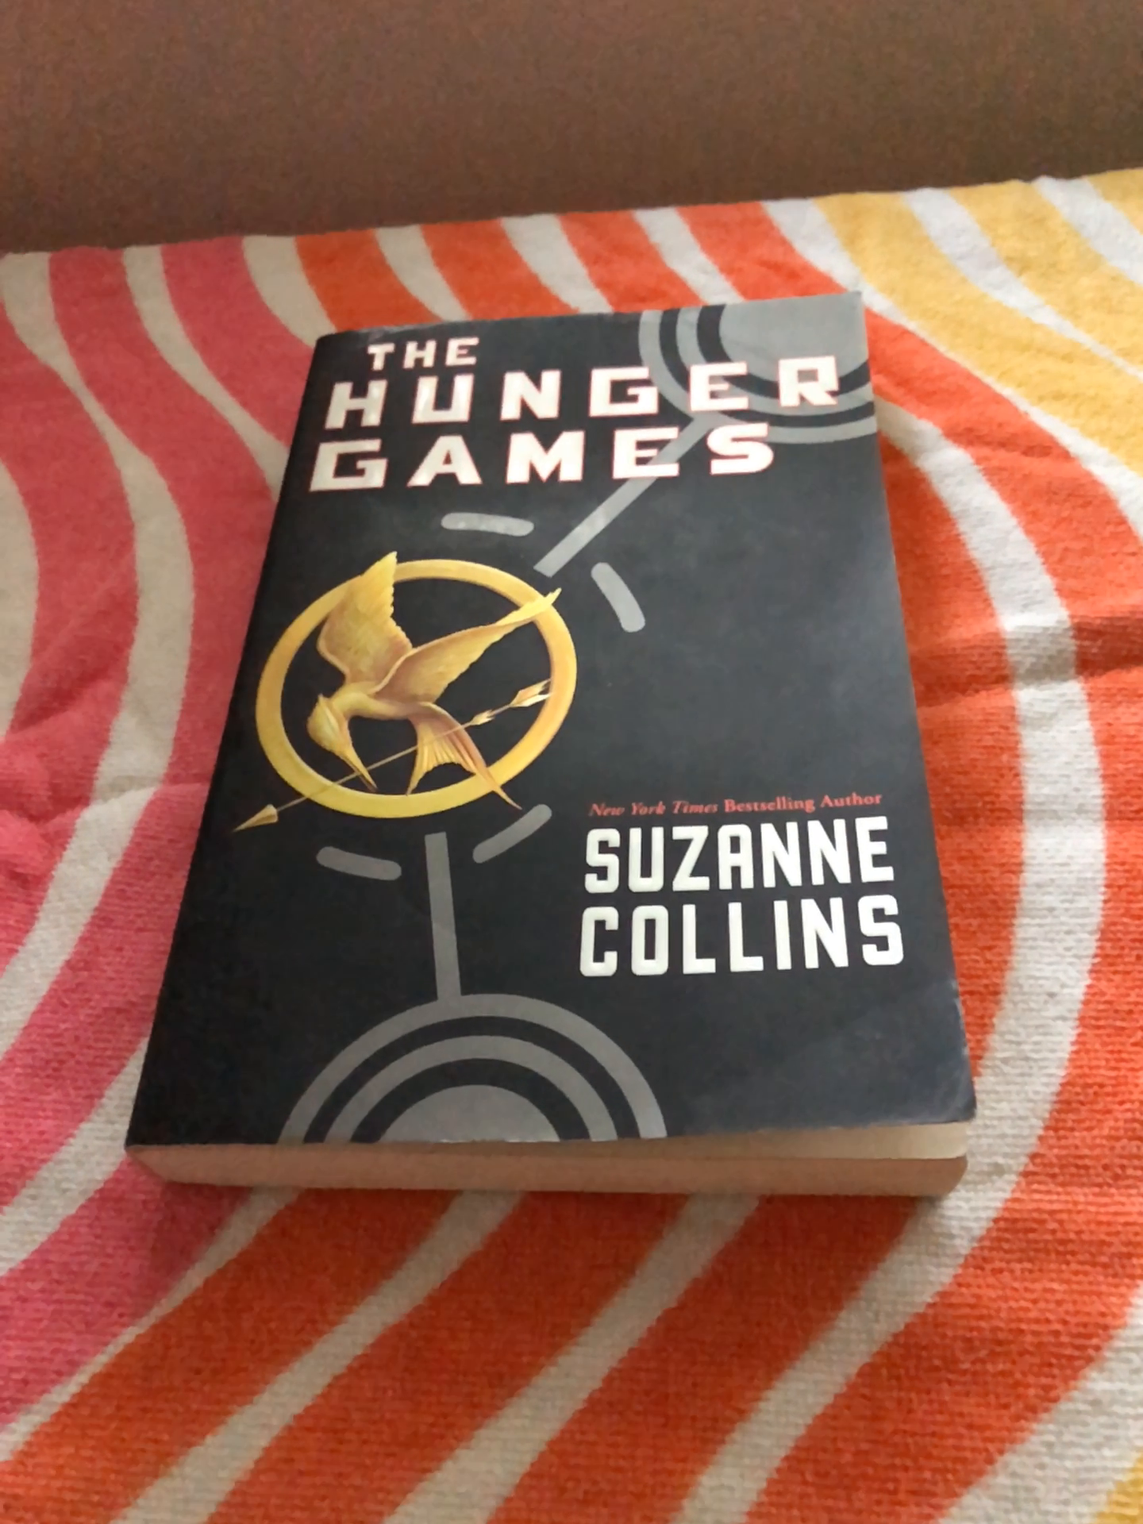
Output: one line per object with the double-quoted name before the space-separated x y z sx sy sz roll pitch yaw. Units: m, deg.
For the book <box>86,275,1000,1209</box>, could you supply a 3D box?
"book" 0.000 -0.018 0.261 0.138 0.037 0.201 -1 56 7
